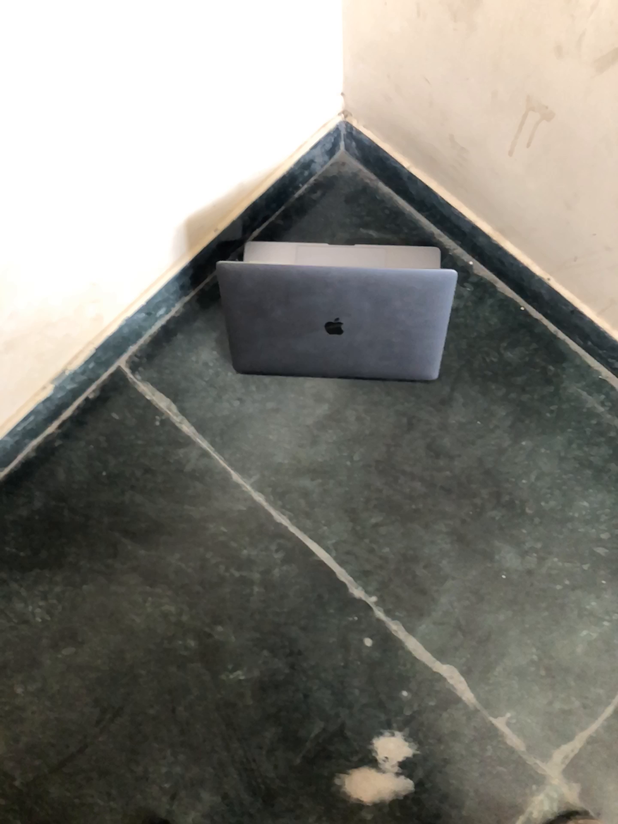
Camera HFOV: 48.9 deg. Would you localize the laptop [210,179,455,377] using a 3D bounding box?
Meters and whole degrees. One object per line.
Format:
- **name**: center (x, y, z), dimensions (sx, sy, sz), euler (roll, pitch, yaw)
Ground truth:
- **laptop**: center (0.040, -0.198, 1.046), dimensions (0.329, 0.199, 0.221), euler (4, 77, 6)
